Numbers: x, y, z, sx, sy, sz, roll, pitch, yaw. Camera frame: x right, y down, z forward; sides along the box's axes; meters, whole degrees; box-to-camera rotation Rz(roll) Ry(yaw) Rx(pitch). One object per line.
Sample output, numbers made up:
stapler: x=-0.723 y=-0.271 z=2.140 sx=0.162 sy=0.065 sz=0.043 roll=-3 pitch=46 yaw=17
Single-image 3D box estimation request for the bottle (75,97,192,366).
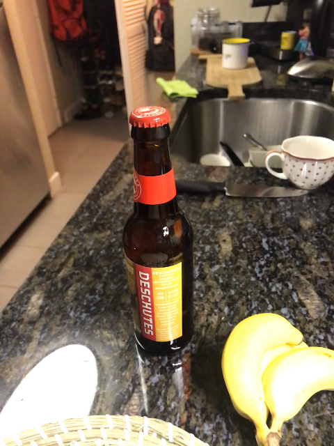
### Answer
bottle: x=-0.014 y=0.018 z=0.272 sx=0.060 sy=0.199 sz=0.060 roll=-2 pitch=34 yaw=1
